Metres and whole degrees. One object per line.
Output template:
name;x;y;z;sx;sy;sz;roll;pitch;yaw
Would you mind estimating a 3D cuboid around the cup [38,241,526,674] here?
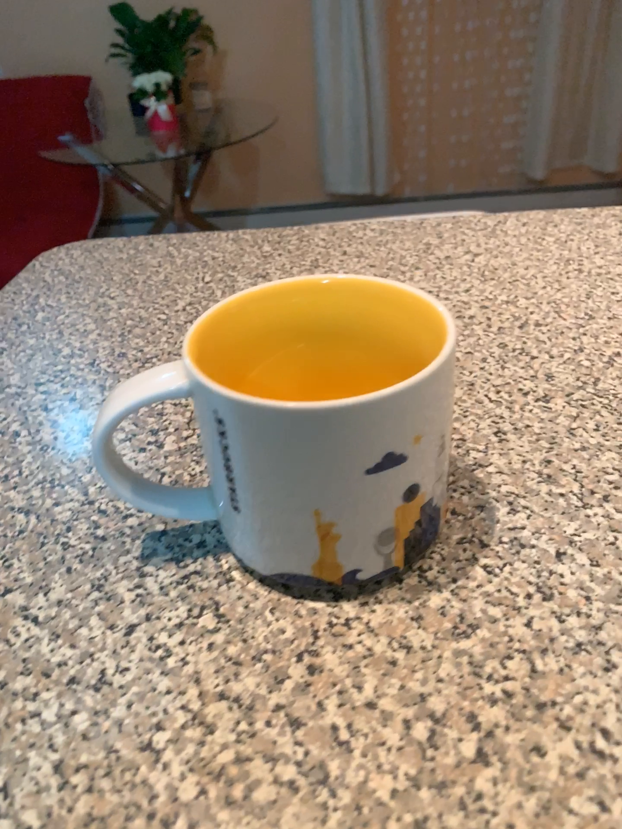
cup;-0.014;0.007;0.242;0.139;0.087;0.103;-14;37;-11
